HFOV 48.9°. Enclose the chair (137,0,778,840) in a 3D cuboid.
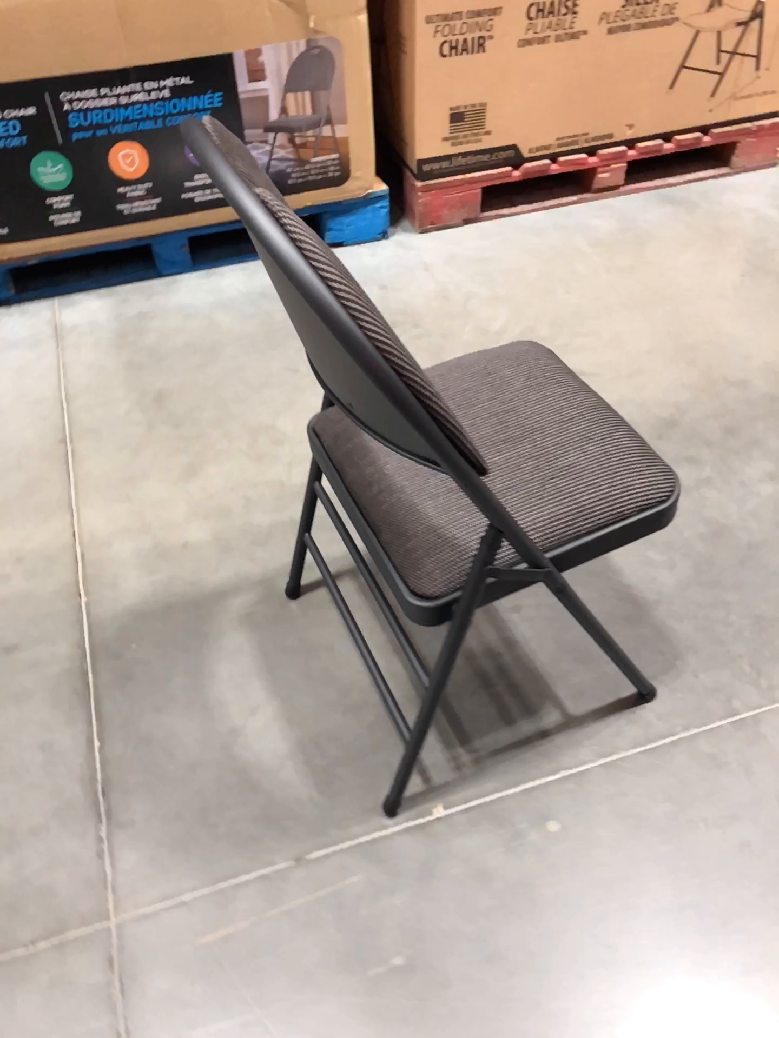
[{"bbox_3d":[0.110,-0.121,1.088,0.560,0.866,0.522,-17,47,-14],"label":"chair"}]
